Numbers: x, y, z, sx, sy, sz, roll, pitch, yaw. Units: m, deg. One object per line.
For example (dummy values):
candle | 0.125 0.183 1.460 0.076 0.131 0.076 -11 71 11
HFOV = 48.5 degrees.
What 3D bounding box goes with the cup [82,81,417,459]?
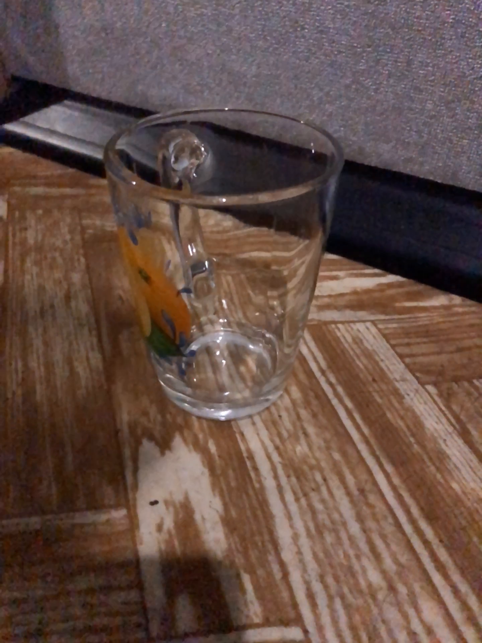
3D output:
cup | -0.007 -0.030 0.226 0.085 0.098 0.117 -14 41 -17
